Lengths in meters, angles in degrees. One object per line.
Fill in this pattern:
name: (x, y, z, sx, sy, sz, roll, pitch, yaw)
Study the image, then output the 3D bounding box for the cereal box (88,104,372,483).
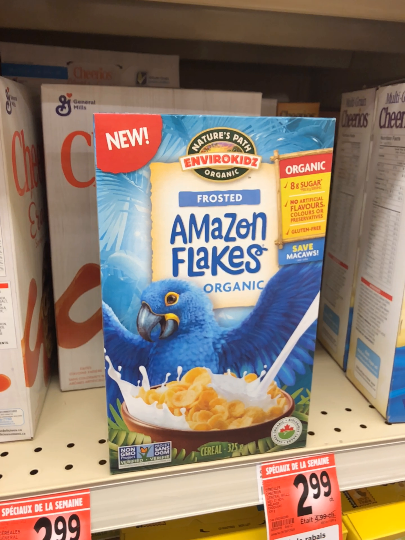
cereal box: (0.013, 0.018, 0.319, 0.170, 0.249, 0.050, -3, 18, -13)
